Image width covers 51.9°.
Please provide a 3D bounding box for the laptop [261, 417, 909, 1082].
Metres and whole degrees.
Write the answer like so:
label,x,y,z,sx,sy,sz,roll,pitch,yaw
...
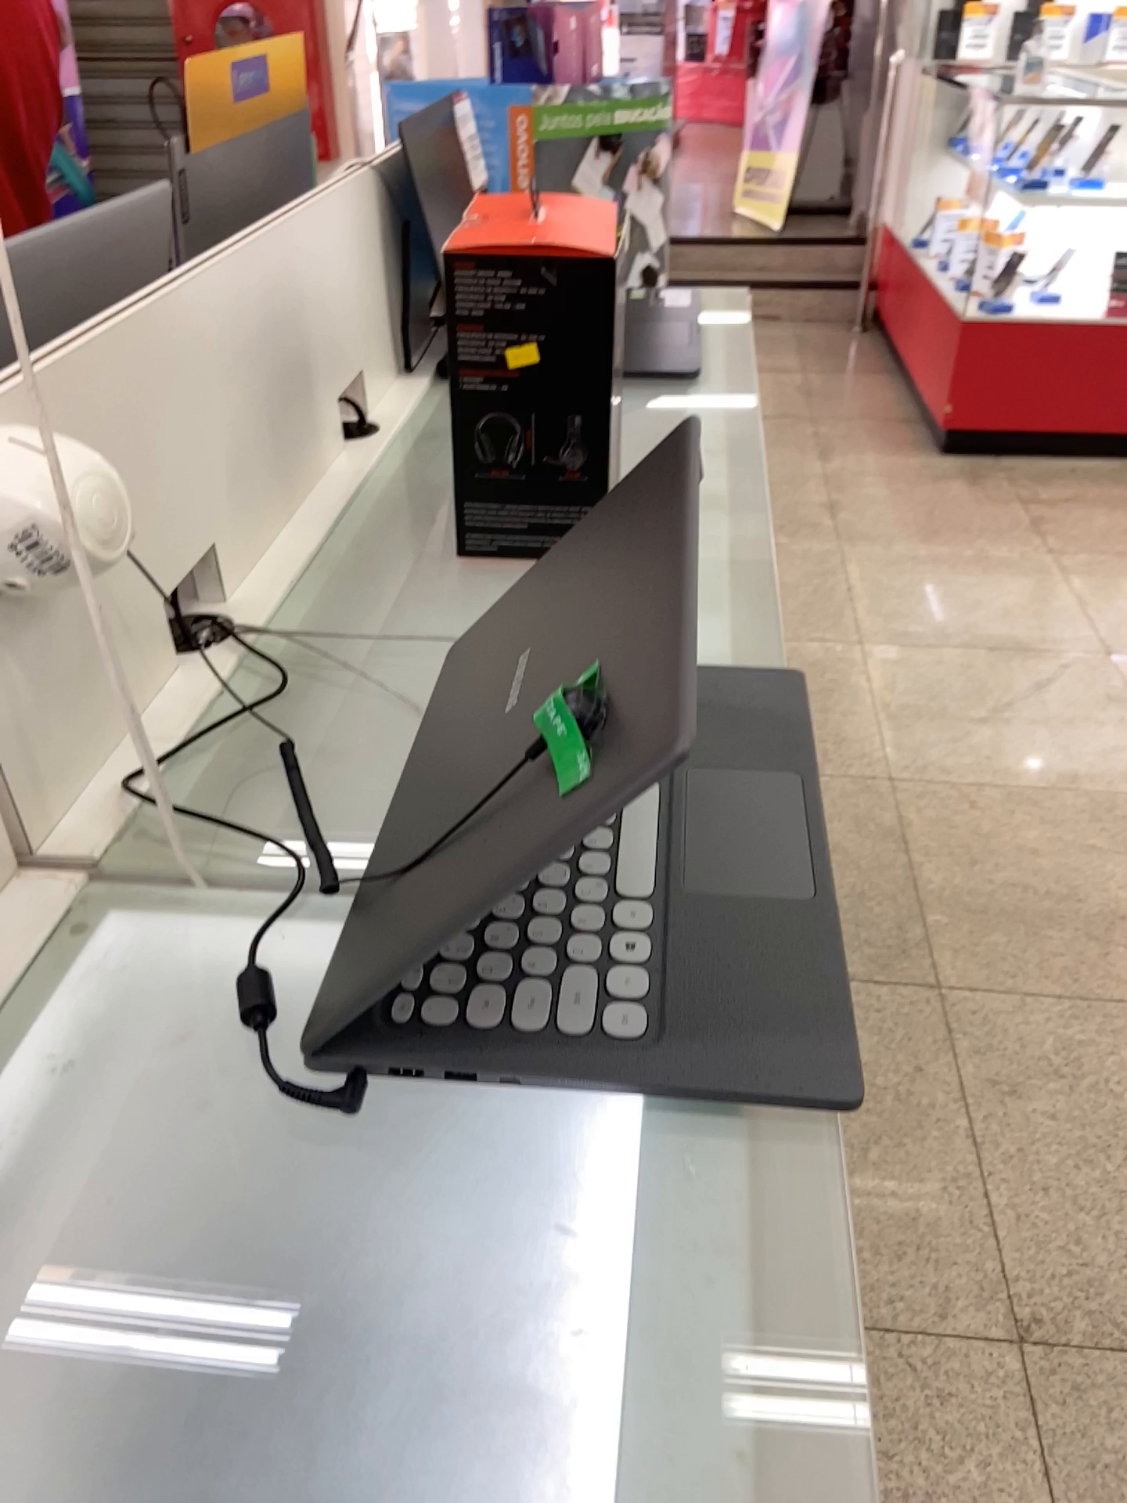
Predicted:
label,x,y,z,sx,sy,sz,roll,pitch,yaw
laptop,0.021,-0.029,0.541,0.207,0.153,0.313,3,33,5
